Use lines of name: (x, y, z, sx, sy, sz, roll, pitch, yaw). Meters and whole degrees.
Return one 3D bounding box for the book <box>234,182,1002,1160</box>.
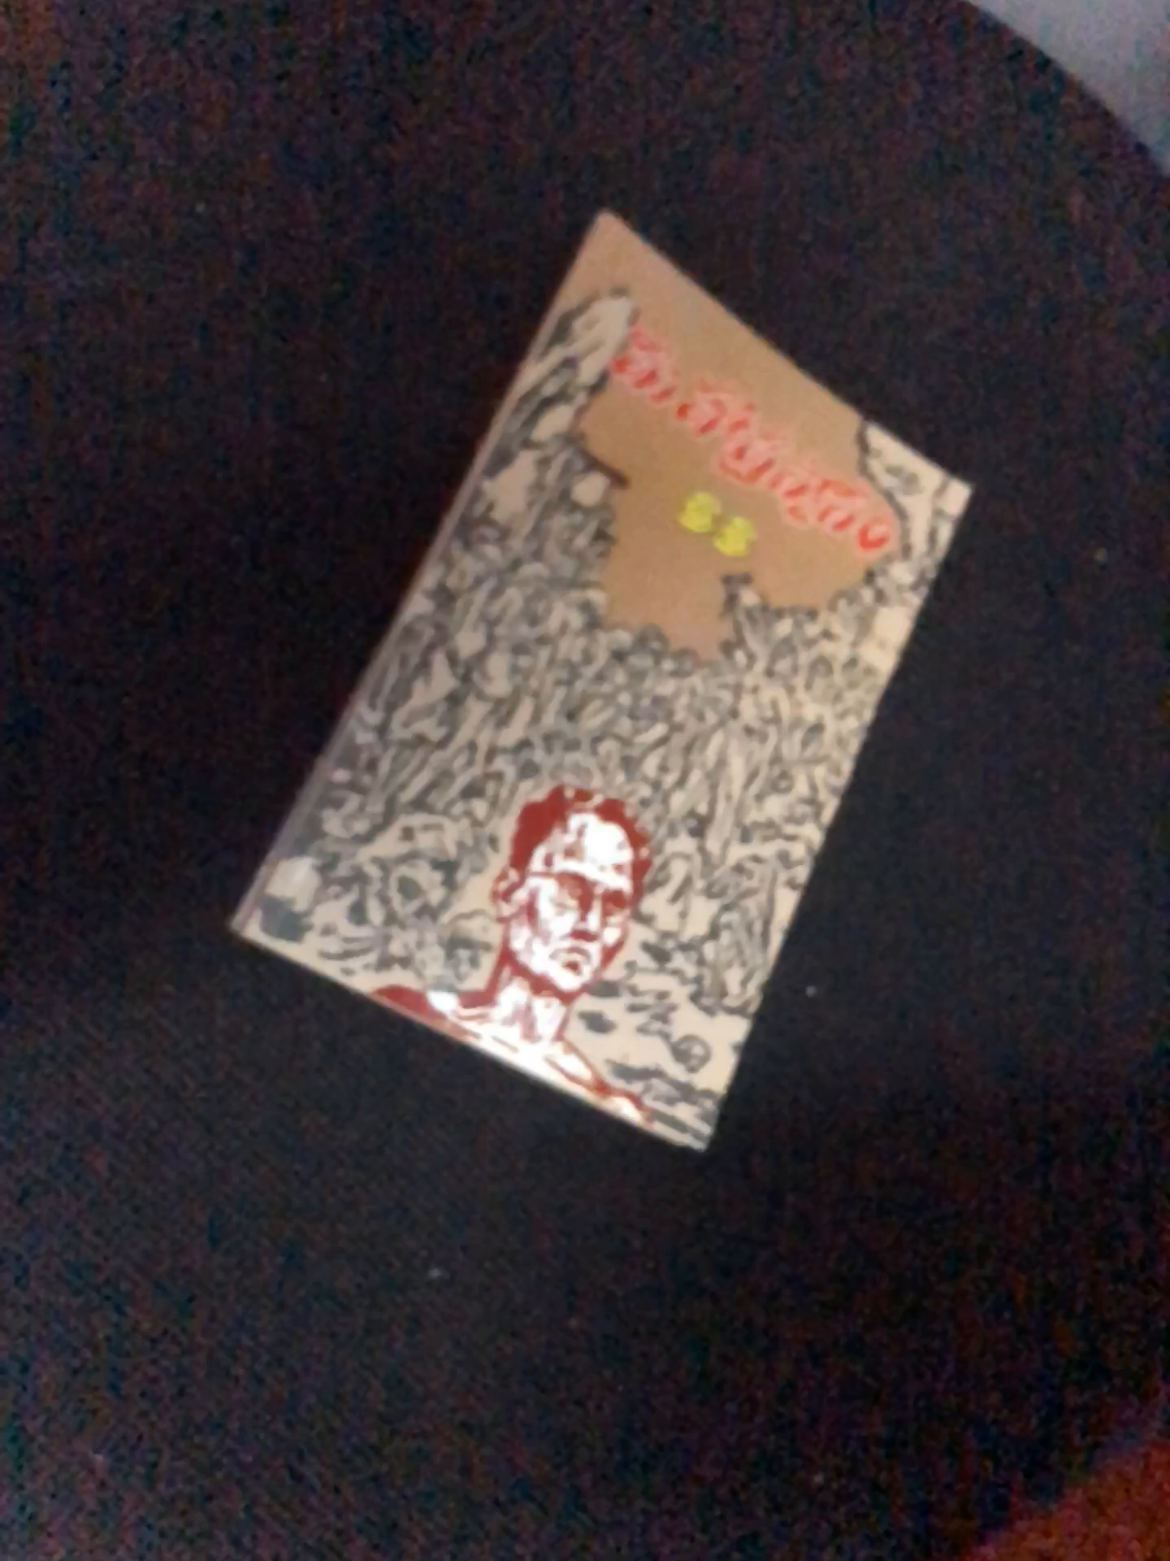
book: (0.021, -0.027, 0.359, 0.140, 0.018, 0.220, 29, 78, -22)
